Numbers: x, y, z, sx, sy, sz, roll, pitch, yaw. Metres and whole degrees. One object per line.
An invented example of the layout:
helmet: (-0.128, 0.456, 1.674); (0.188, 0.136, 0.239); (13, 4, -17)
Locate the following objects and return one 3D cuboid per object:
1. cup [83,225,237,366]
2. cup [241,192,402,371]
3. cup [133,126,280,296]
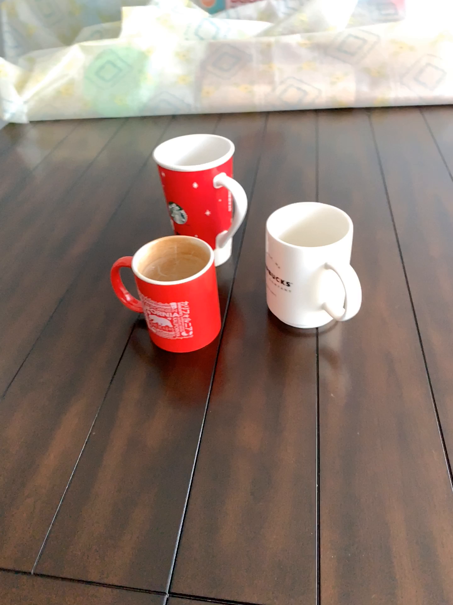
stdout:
cup: (-0.065, -0.011, 0.496); (0.120, 0.090, 0.090); (14, 45, 21)
cup: (0.093, -0.028, 0.504); (0.100, 0.109, 0.141); (-19, 43, -14)
cup: (-0.020, -0.116, 0.575); (0.100, 0.139, 0.141); (-33, 49, -28)
